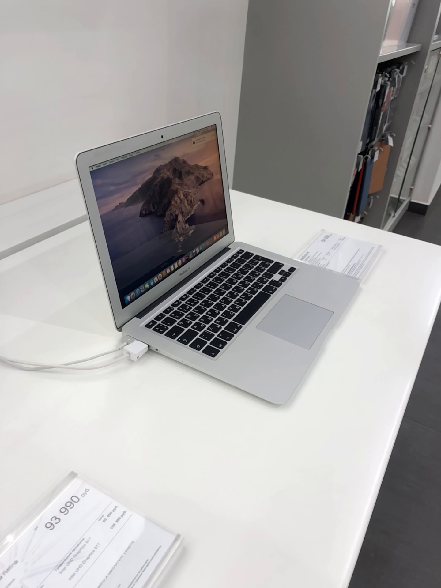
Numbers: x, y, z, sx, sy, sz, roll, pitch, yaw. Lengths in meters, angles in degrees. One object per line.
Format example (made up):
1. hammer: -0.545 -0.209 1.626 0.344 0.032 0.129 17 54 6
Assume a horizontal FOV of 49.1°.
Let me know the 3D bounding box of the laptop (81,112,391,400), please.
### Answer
1. laptop: 0.034 -0.086 0.646 0.270 0.207 0.316 20 35 22
